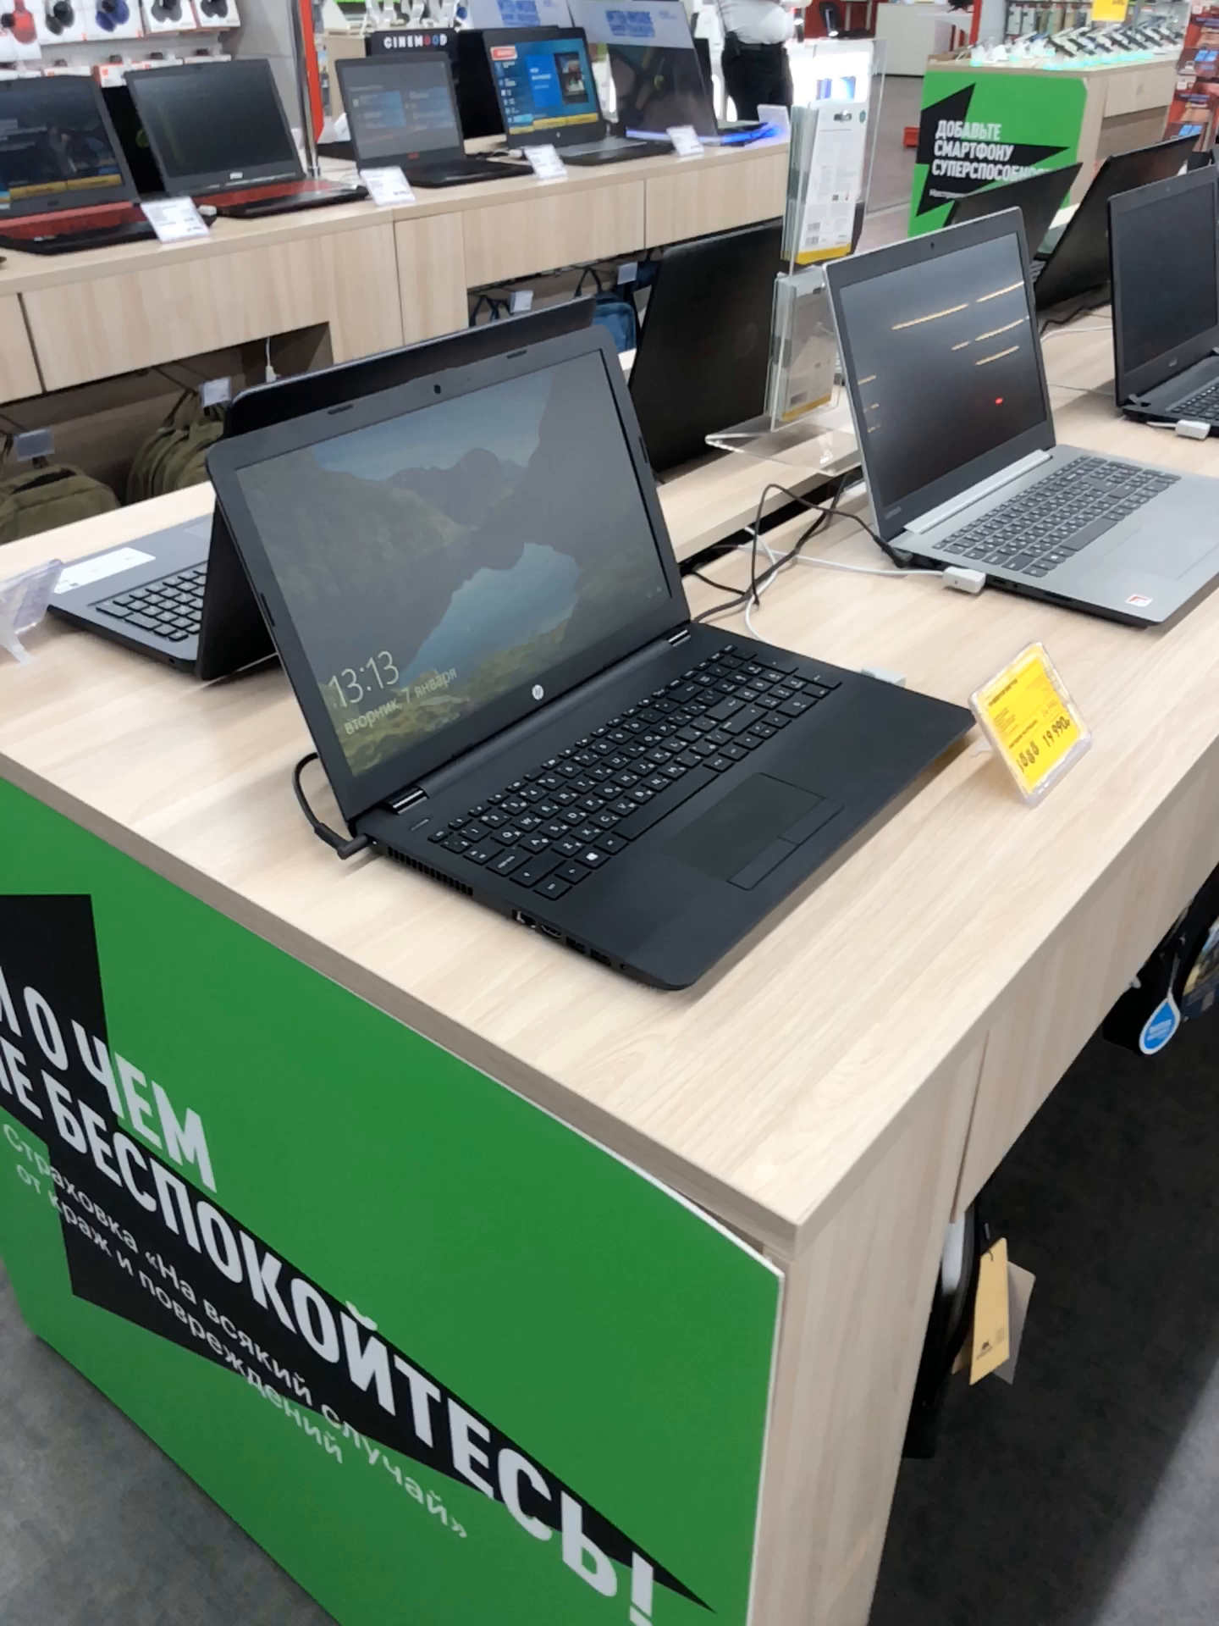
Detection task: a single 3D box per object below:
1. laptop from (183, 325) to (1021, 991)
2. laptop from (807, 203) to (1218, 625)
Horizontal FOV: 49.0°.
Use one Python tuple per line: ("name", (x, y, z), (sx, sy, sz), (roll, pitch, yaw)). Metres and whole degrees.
("laptop", (0.010, -0.138, 0.855), (0.342, 0.217, 0.378), (23, 39, 31))
("laptop", (0.433, -0.394, 1.241), (0.339, 0.226, 0.372), (26, 41, 33))
